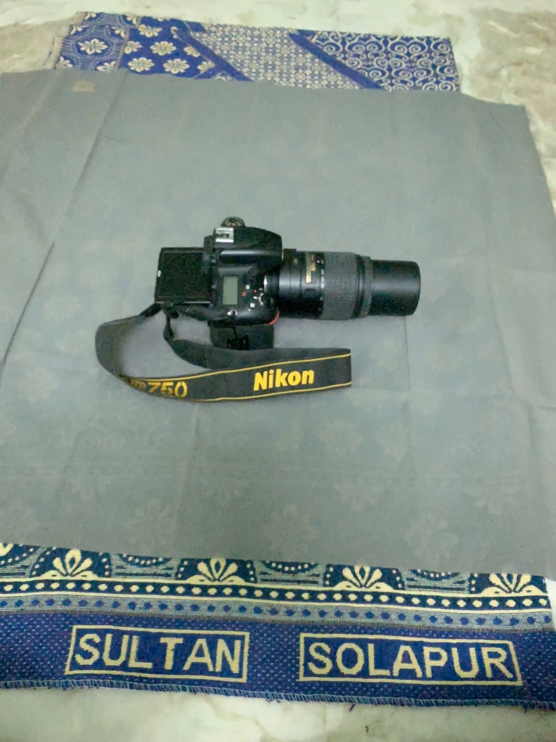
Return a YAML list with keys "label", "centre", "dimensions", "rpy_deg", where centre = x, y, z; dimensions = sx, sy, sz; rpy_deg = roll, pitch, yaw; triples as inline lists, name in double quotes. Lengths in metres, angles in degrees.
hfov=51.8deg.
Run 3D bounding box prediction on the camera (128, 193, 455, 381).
- label: "camera"
  centre: [0.013, -0.085, 0.588]
  dimensions: [0.288, 0.110, 0.147]
  rpy_deg: [2, 58, 1]
